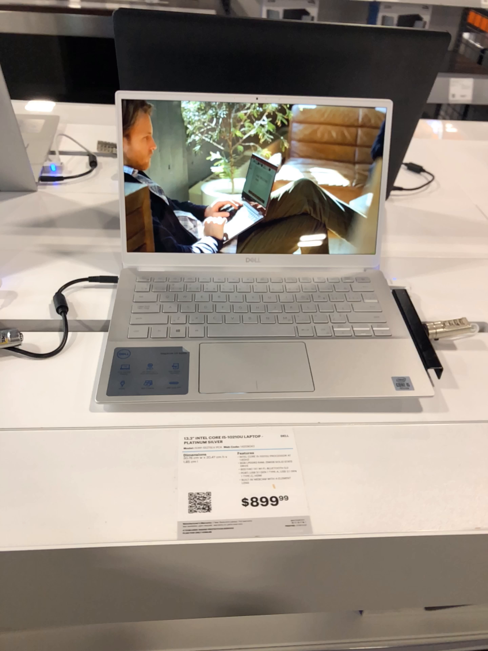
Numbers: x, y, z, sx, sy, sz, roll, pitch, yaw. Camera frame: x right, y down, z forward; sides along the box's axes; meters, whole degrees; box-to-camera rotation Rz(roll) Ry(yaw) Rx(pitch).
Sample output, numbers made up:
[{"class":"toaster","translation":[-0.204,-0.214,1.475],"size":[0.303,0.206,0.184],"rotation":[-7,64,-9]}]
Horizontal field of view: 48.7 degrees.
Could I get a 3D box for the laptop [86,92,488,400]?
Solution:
[{"class":"laptop","translation":[0.025,-0.097,0.541],"size":[0.293,0.165,0.294],"rotation":[0,41,-2]}]
